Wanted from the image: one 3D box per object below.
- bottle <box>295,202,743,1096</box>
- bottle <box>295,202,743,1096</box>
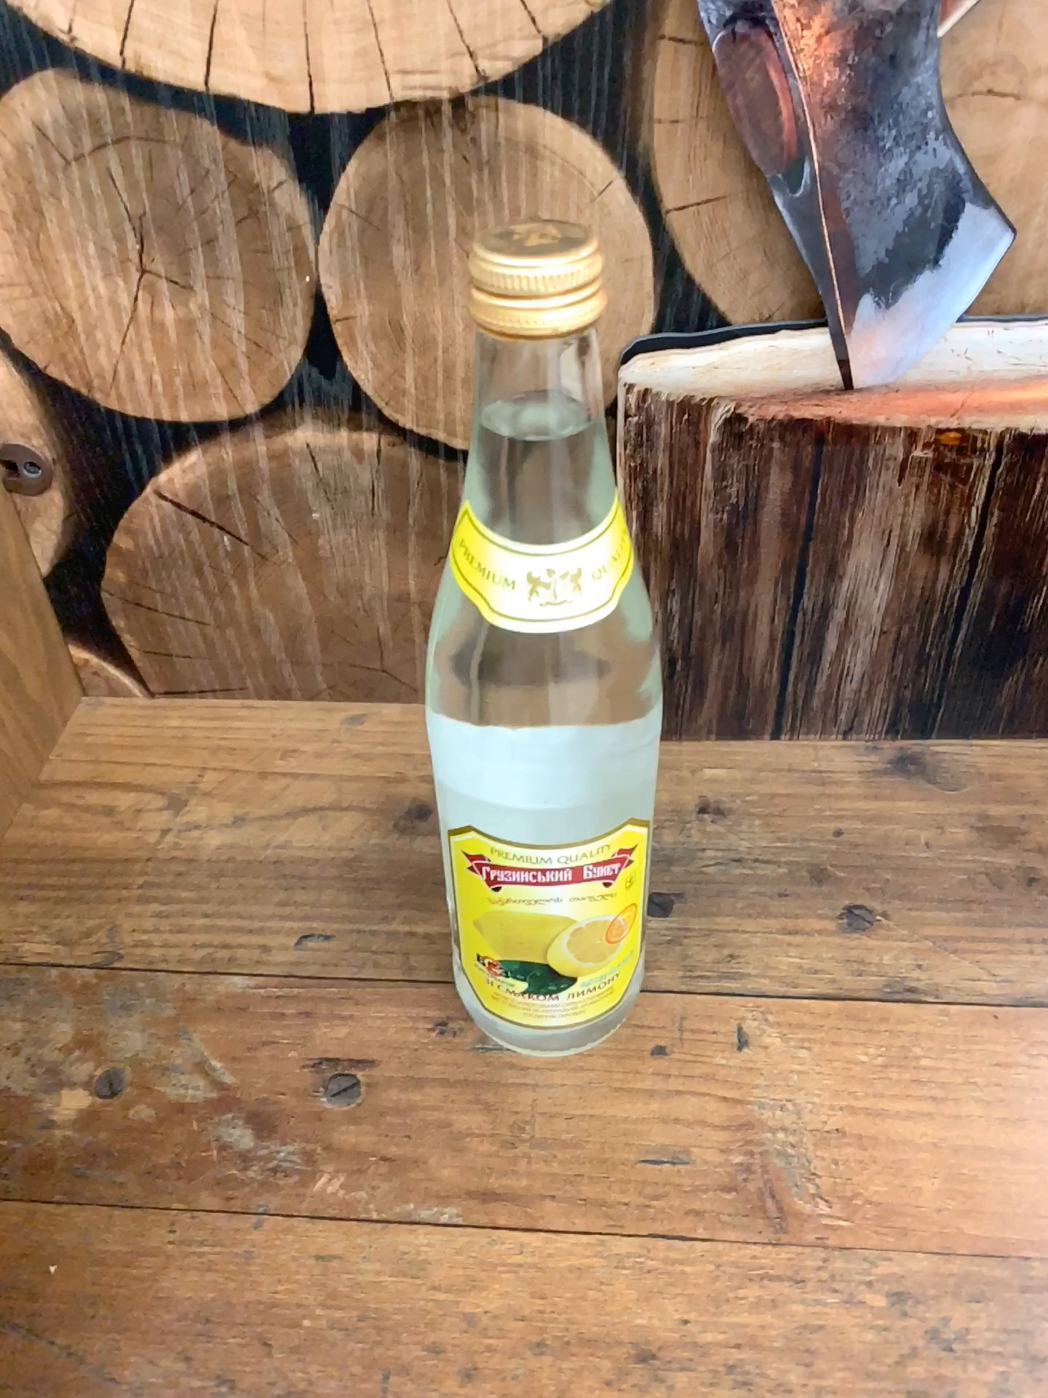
[{"bbox_3d":[0.004,0.005,0.265,0.070,0.219,0.070,-1,40,1],"label":"bottle"},{"bbox_3d":[0.004,0.005,0.265,0.070,0.219,0.070,-1,40,1],"label":"bottle"}]
